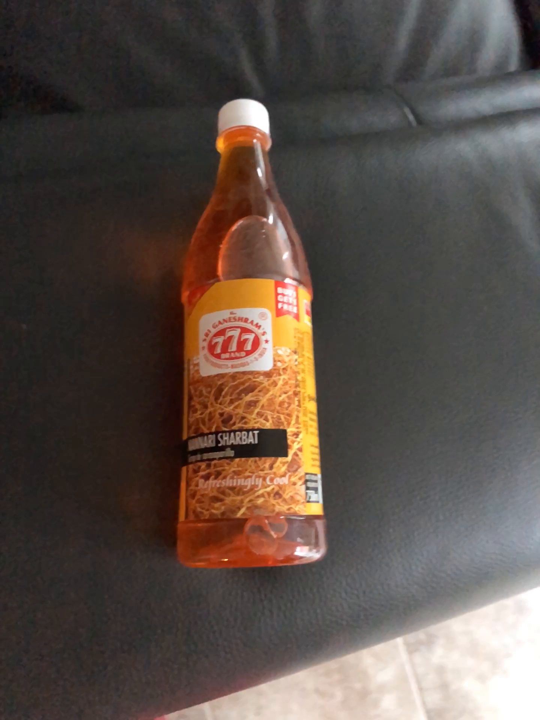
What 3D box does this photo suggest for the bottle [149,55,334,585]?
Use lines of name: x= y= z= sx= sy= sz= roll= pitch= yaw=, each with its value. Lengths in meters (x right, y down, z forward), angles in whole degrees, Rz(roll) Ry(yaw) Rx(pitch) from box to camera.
bottle: x=-0.013 y=-0.027 z=0.336 sx=0.080 sy=0.070 sz=0.280 roll=-3 pitch=72 yaw=5
